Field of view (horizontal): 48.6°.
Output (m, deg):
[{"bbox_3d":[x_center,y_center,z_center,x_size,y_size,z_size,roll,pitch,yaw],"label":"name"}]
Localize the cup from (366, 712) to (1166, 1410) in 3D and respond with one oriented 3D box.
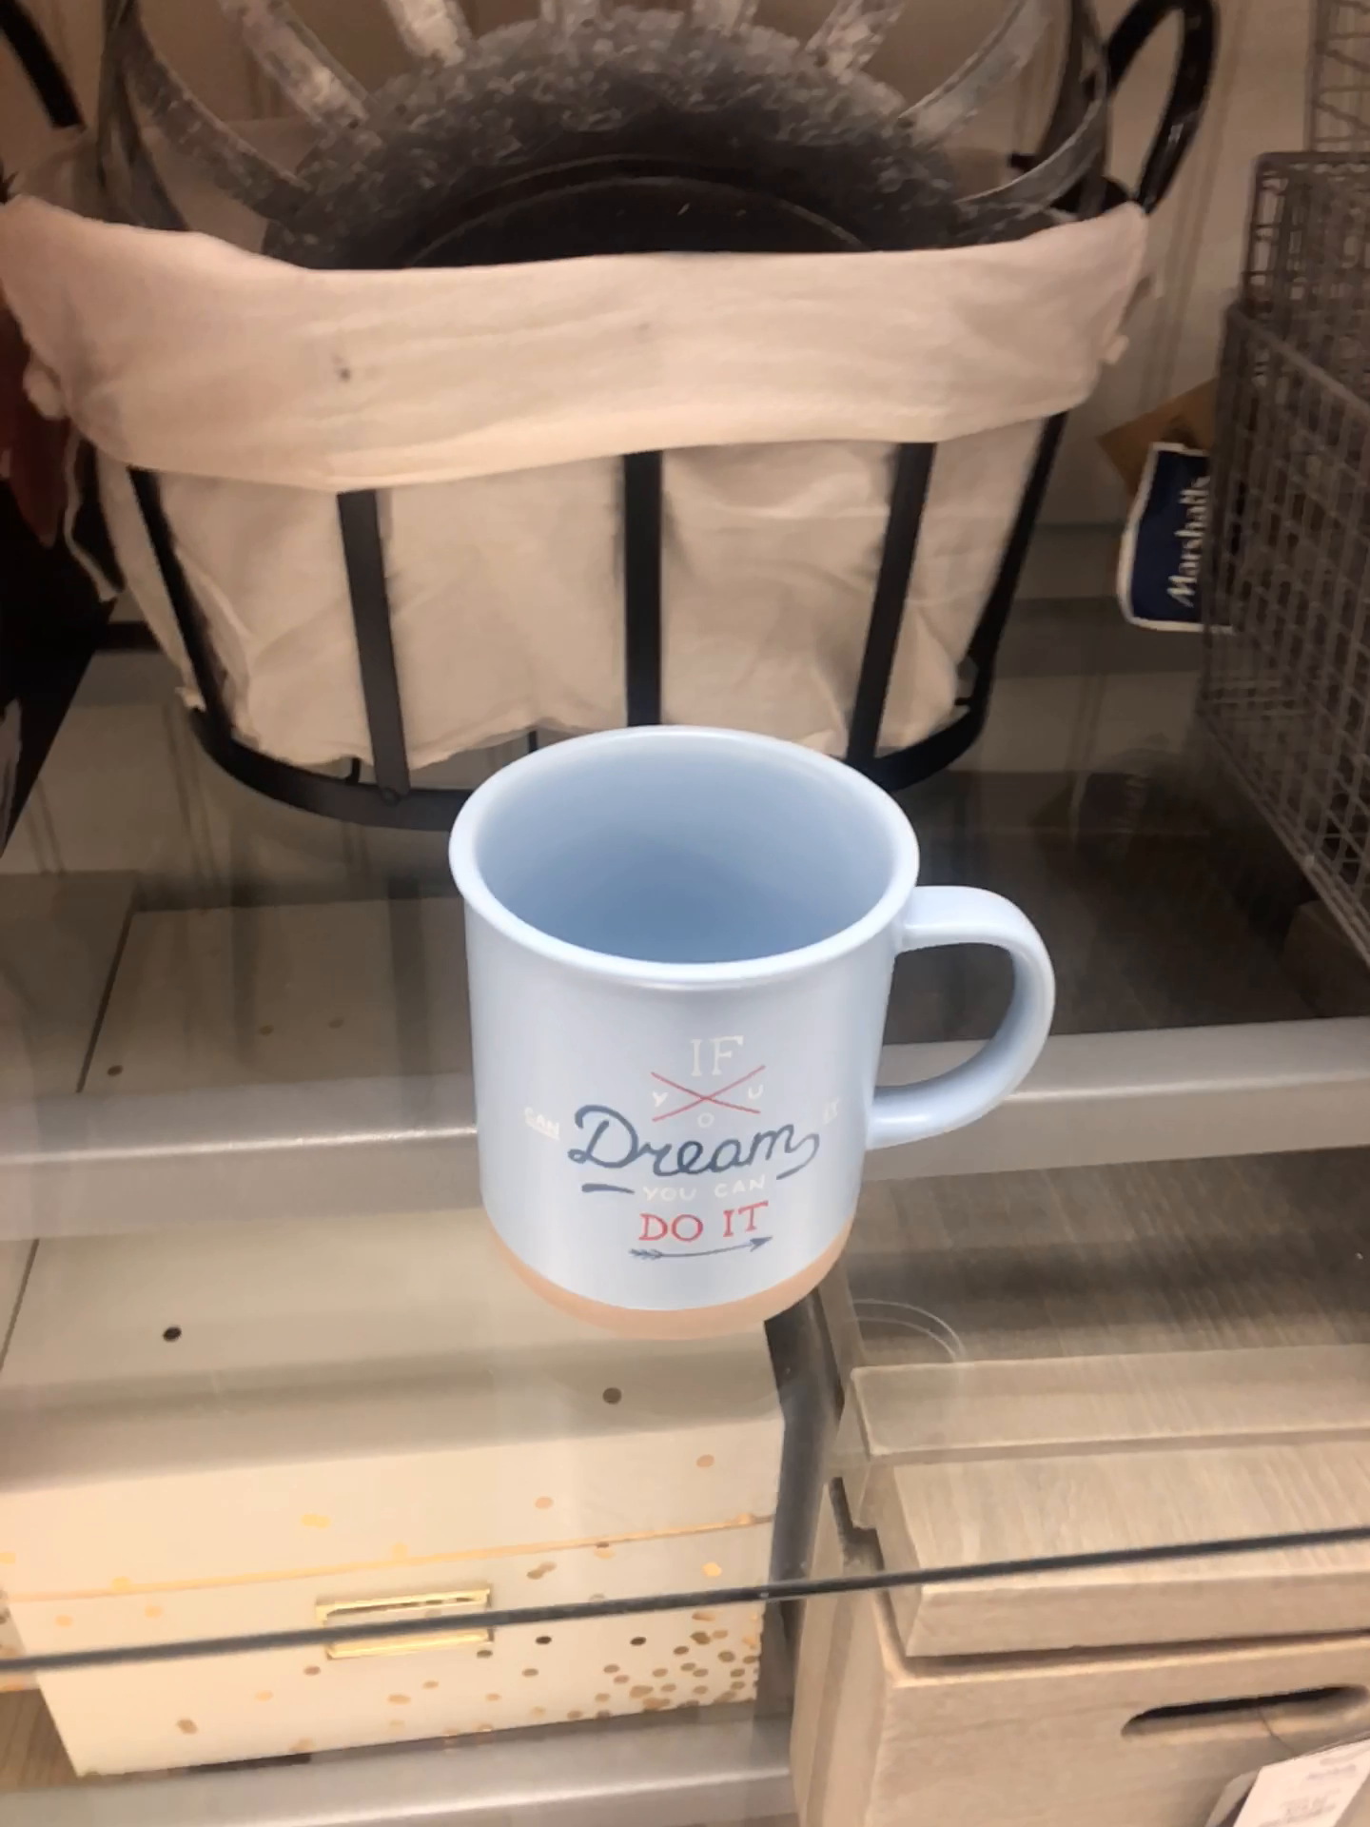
[{"bbox_3d":[0.008,0.027,0.328,0.139,0.100,0.100,-3,36,-7],"label":"cup"}]
